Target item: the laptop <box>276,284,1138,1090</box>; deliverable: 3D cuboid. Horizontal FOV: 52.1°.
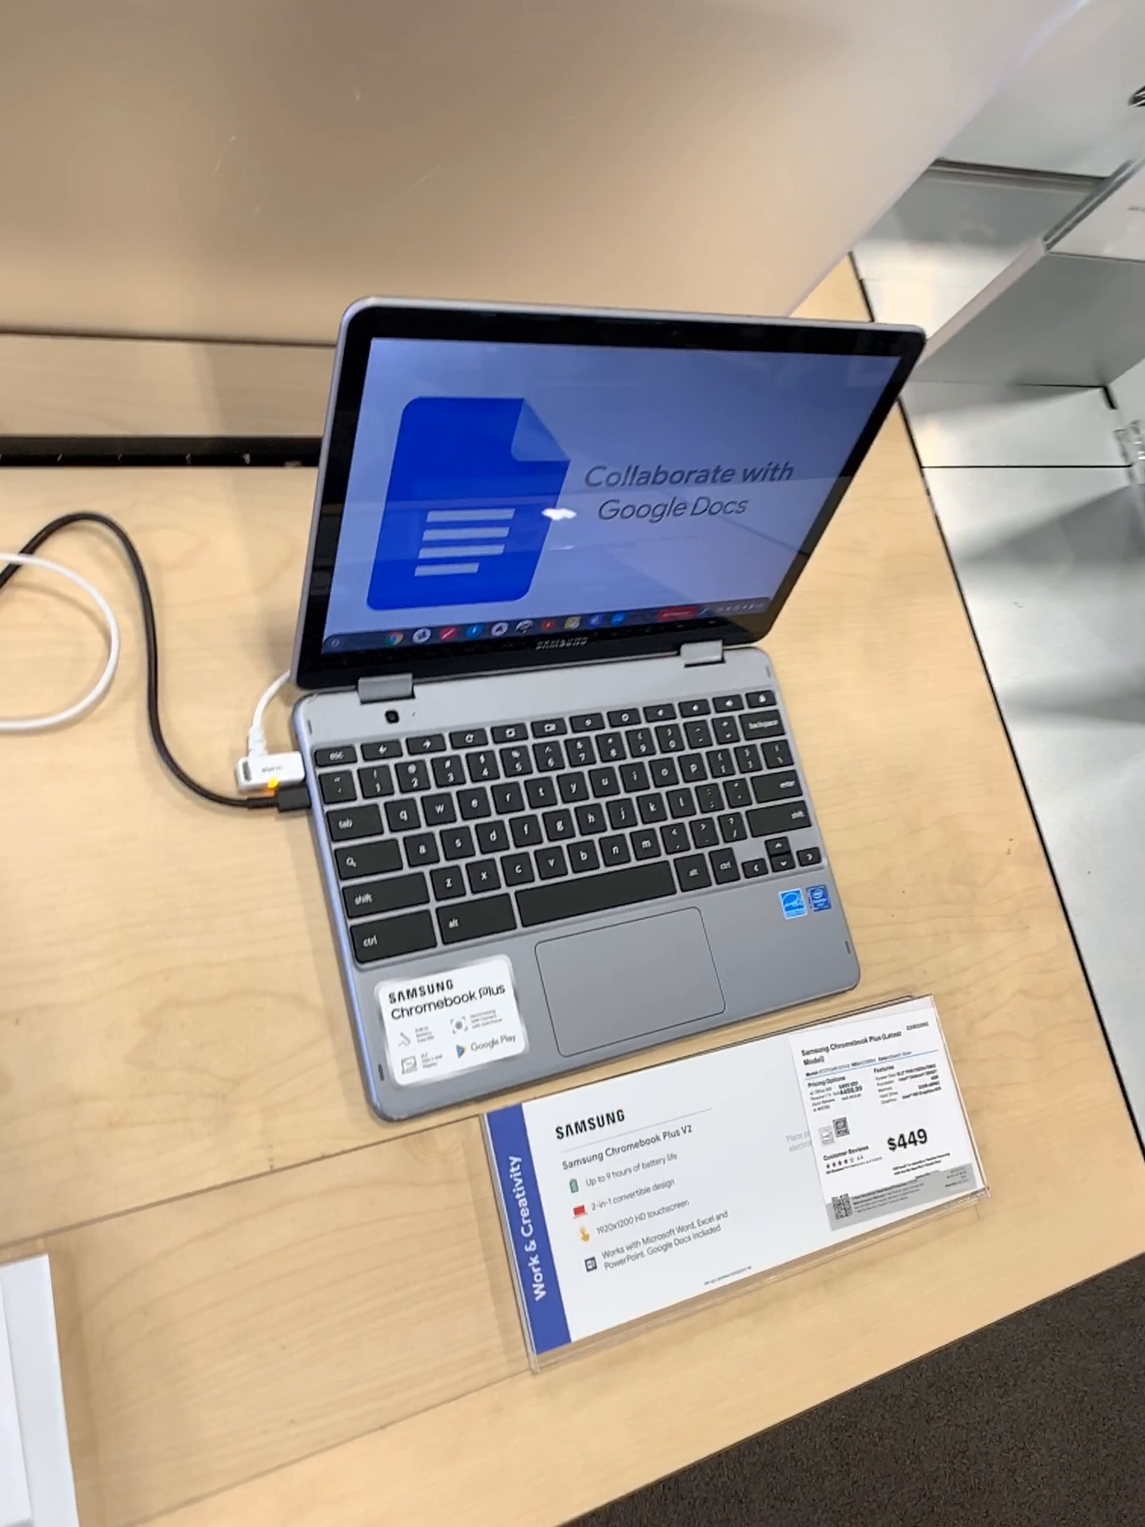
[{"bbox_3d":[0.047,-0.030,0.532,0.275,0.183,0.274,-9,78,-27],"label":"laptop"}]
